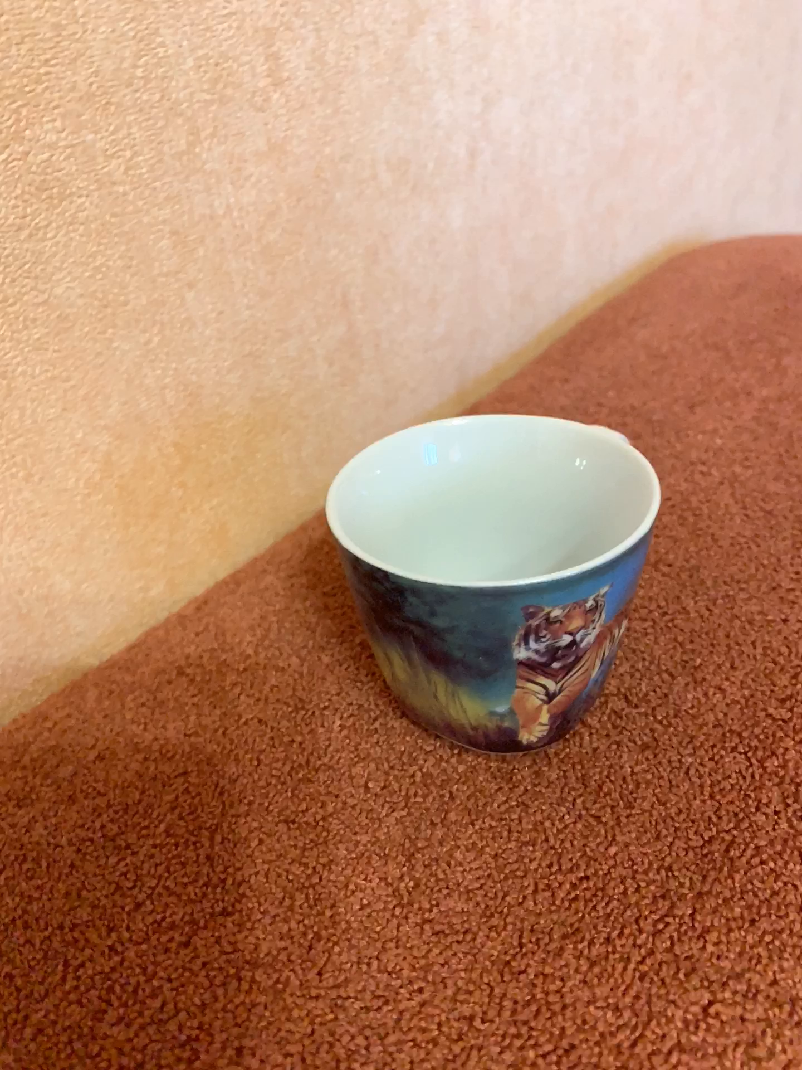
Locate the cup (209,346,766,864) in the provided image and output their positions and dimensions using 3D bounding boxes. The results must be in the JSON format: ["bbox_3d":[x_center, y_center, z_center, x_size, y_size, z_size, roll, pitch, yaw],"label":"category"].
[{"bbox_3d":[0.020,0.005,0.177,0.072,0.047,0.083,23,46,36],"label":"cup"}]
